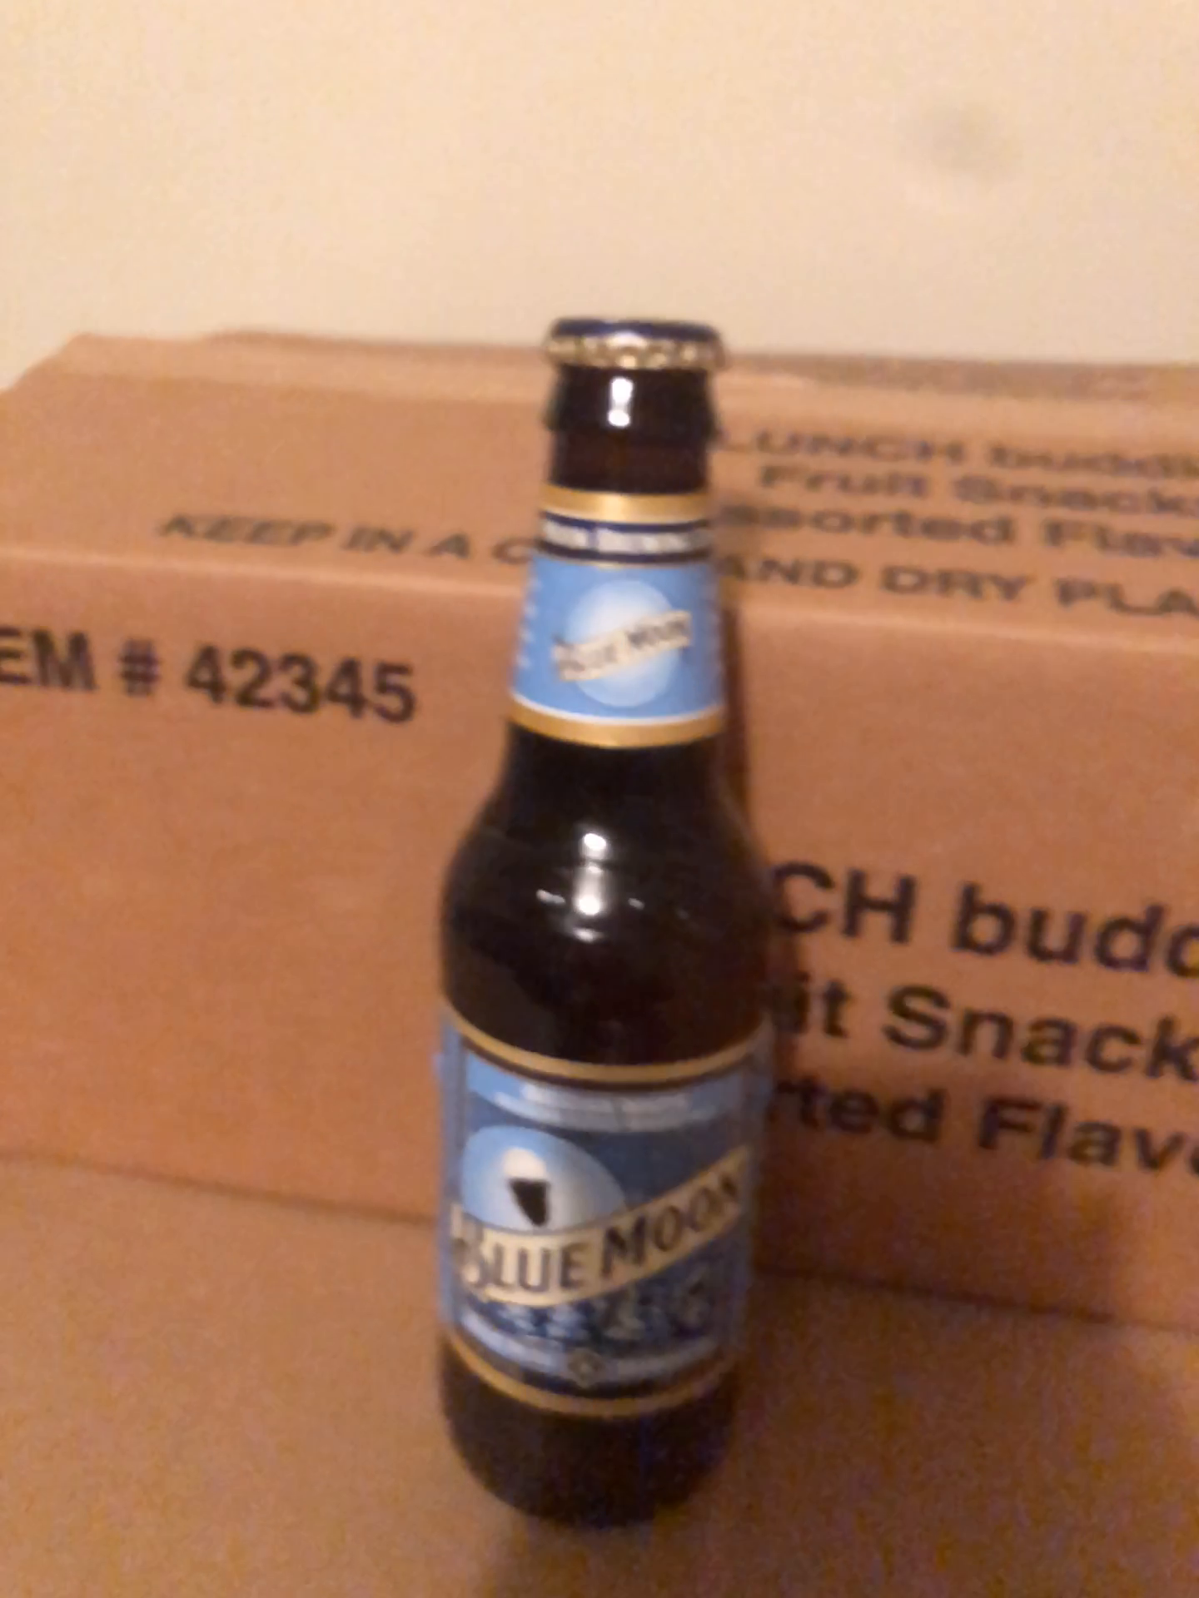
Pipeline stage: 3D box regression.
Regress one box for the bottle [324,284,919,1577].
[{"bbox_3d":[0.003,0.028,0.230,0.070,0.210,0.060,3,24,5],"label":"bottle"}]
